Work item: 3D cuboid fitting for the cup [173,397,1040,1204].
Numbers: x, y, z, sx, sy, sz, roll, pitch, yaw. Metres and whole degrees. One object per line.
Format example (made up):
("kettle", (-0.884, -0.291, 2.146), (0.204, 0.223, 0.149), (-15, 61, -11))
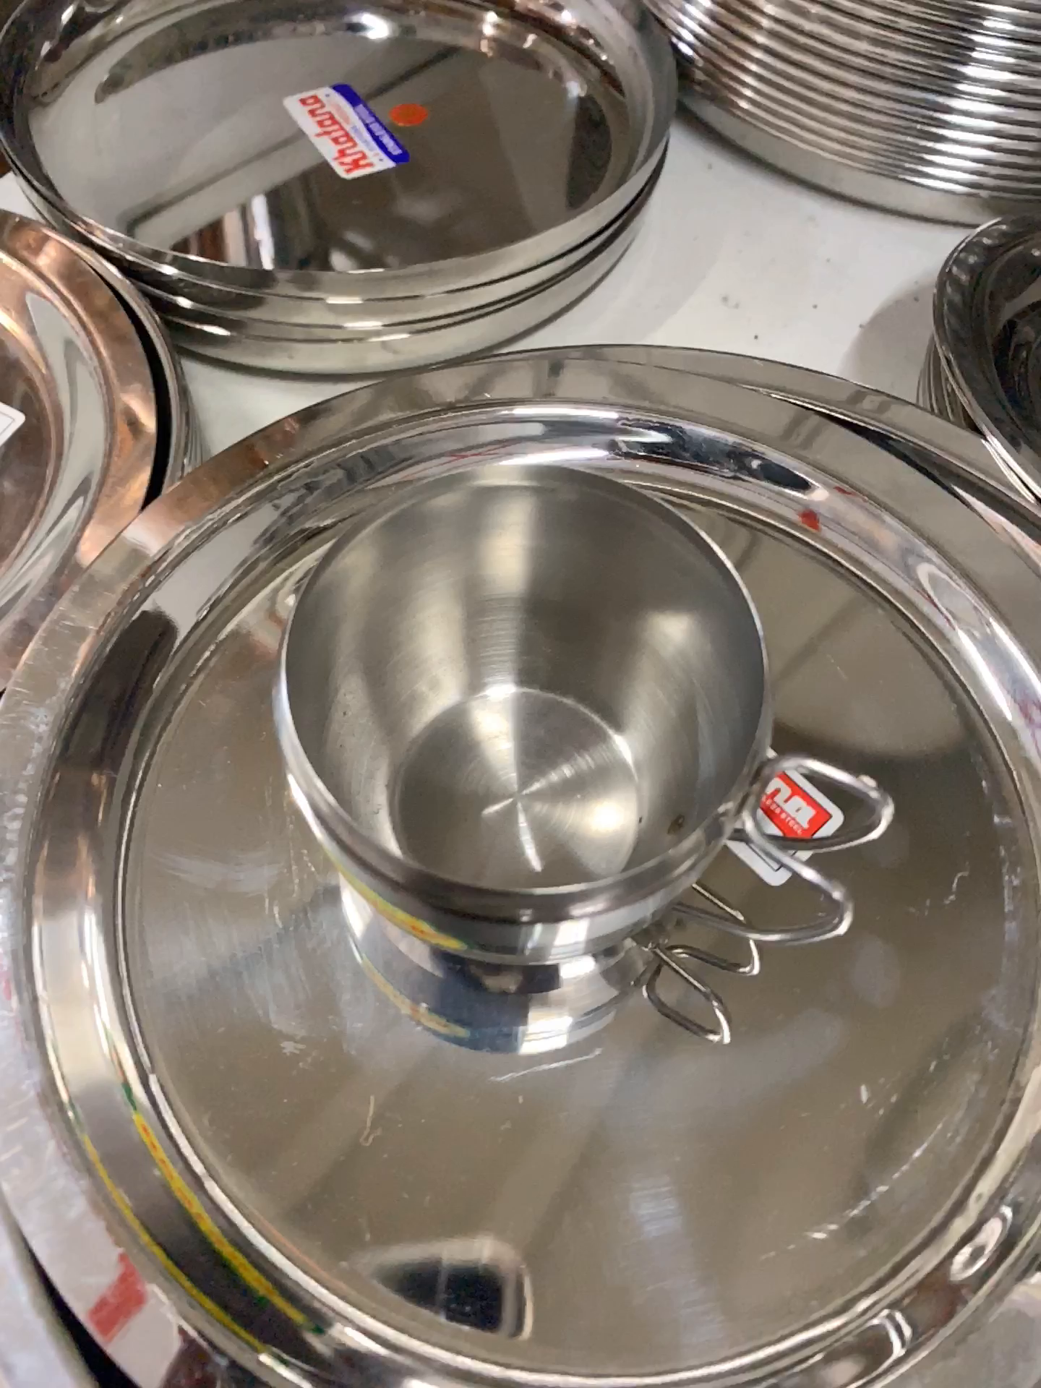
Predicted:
("cup", (0.014, 0.012, 0.153), (0.090, 0.040, 0.070), (28, 65, 14))
